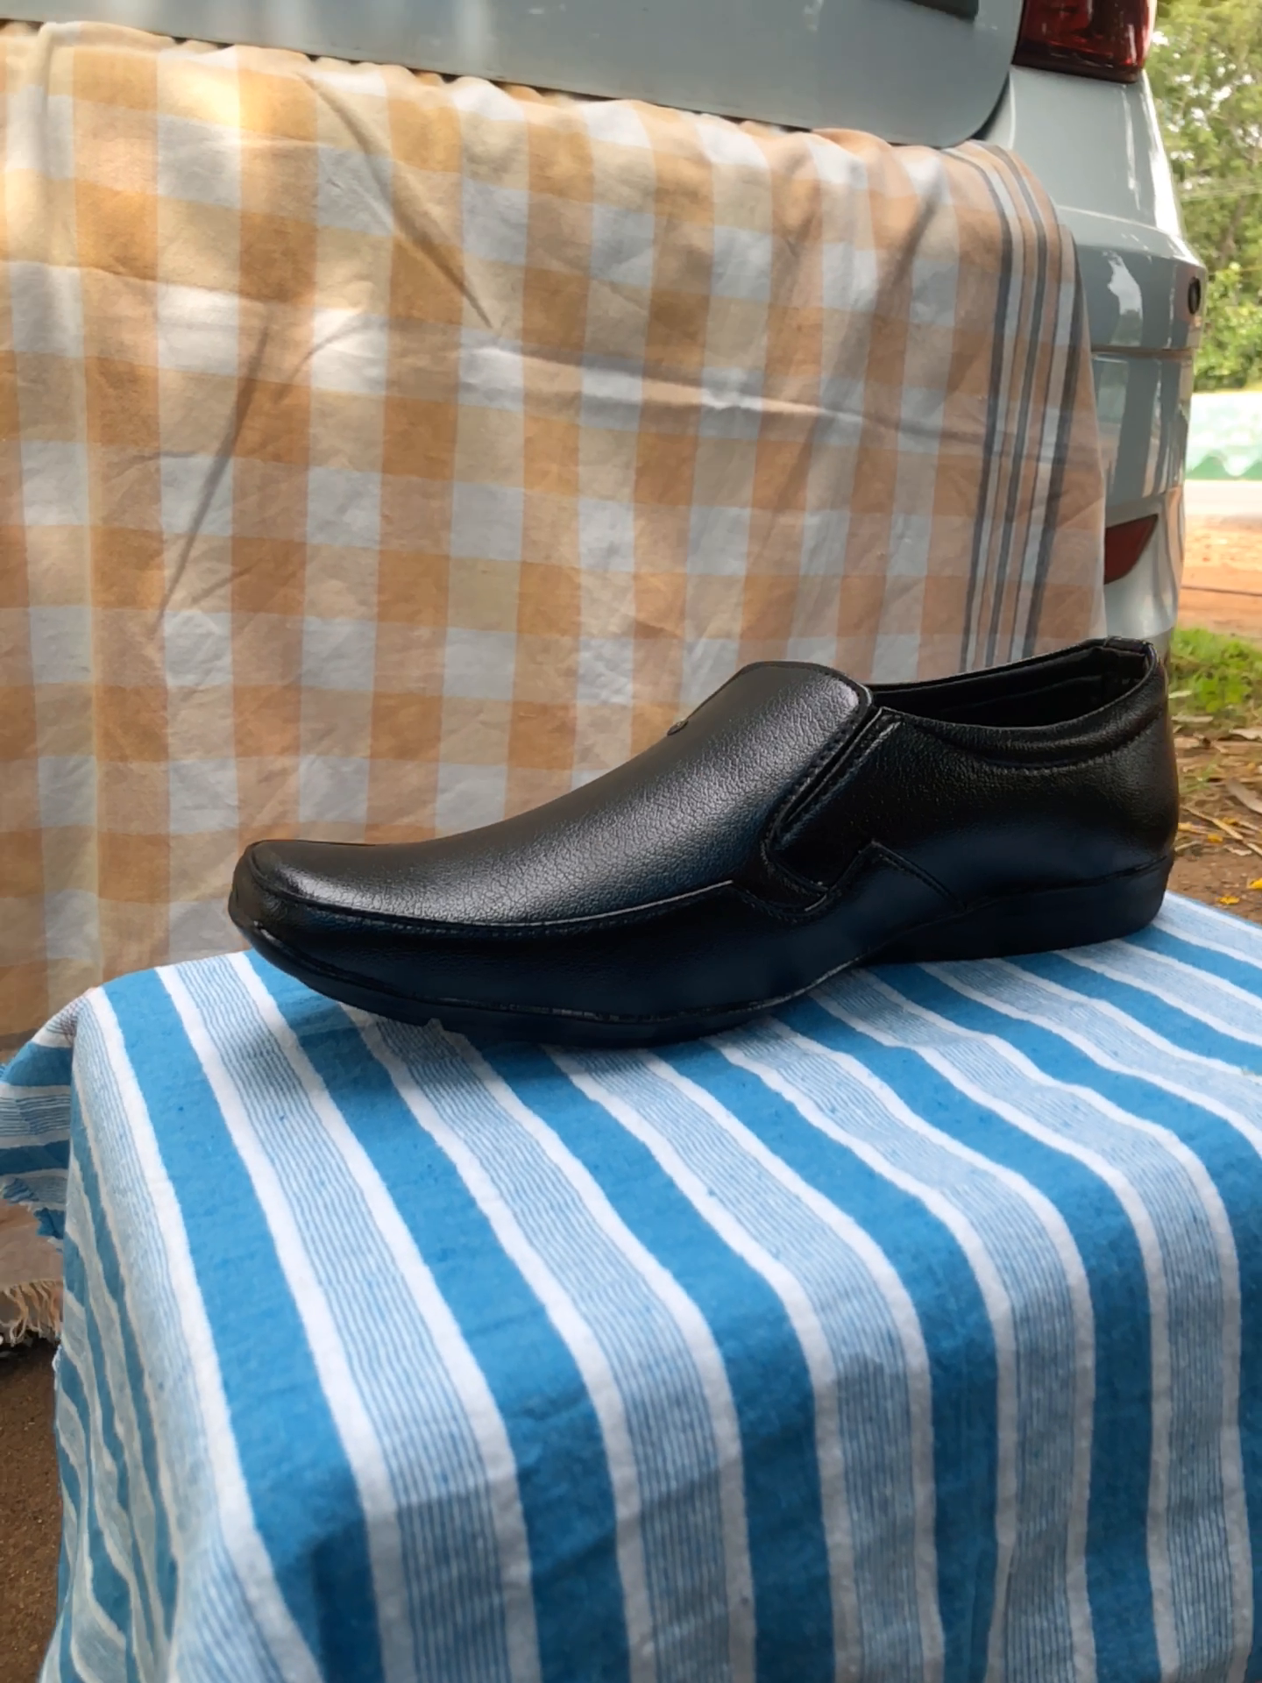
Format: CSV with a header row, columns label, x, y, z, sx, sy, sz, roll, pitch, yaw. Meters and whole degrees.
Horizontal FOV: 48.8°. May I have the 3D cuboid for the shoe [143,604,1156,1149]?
label,x,y,z,sx,sy,sz,roll,pitch,yaw
shoe,0.017,-0.009,0.435,0.301,0.110,0.100,-8,17,-31
